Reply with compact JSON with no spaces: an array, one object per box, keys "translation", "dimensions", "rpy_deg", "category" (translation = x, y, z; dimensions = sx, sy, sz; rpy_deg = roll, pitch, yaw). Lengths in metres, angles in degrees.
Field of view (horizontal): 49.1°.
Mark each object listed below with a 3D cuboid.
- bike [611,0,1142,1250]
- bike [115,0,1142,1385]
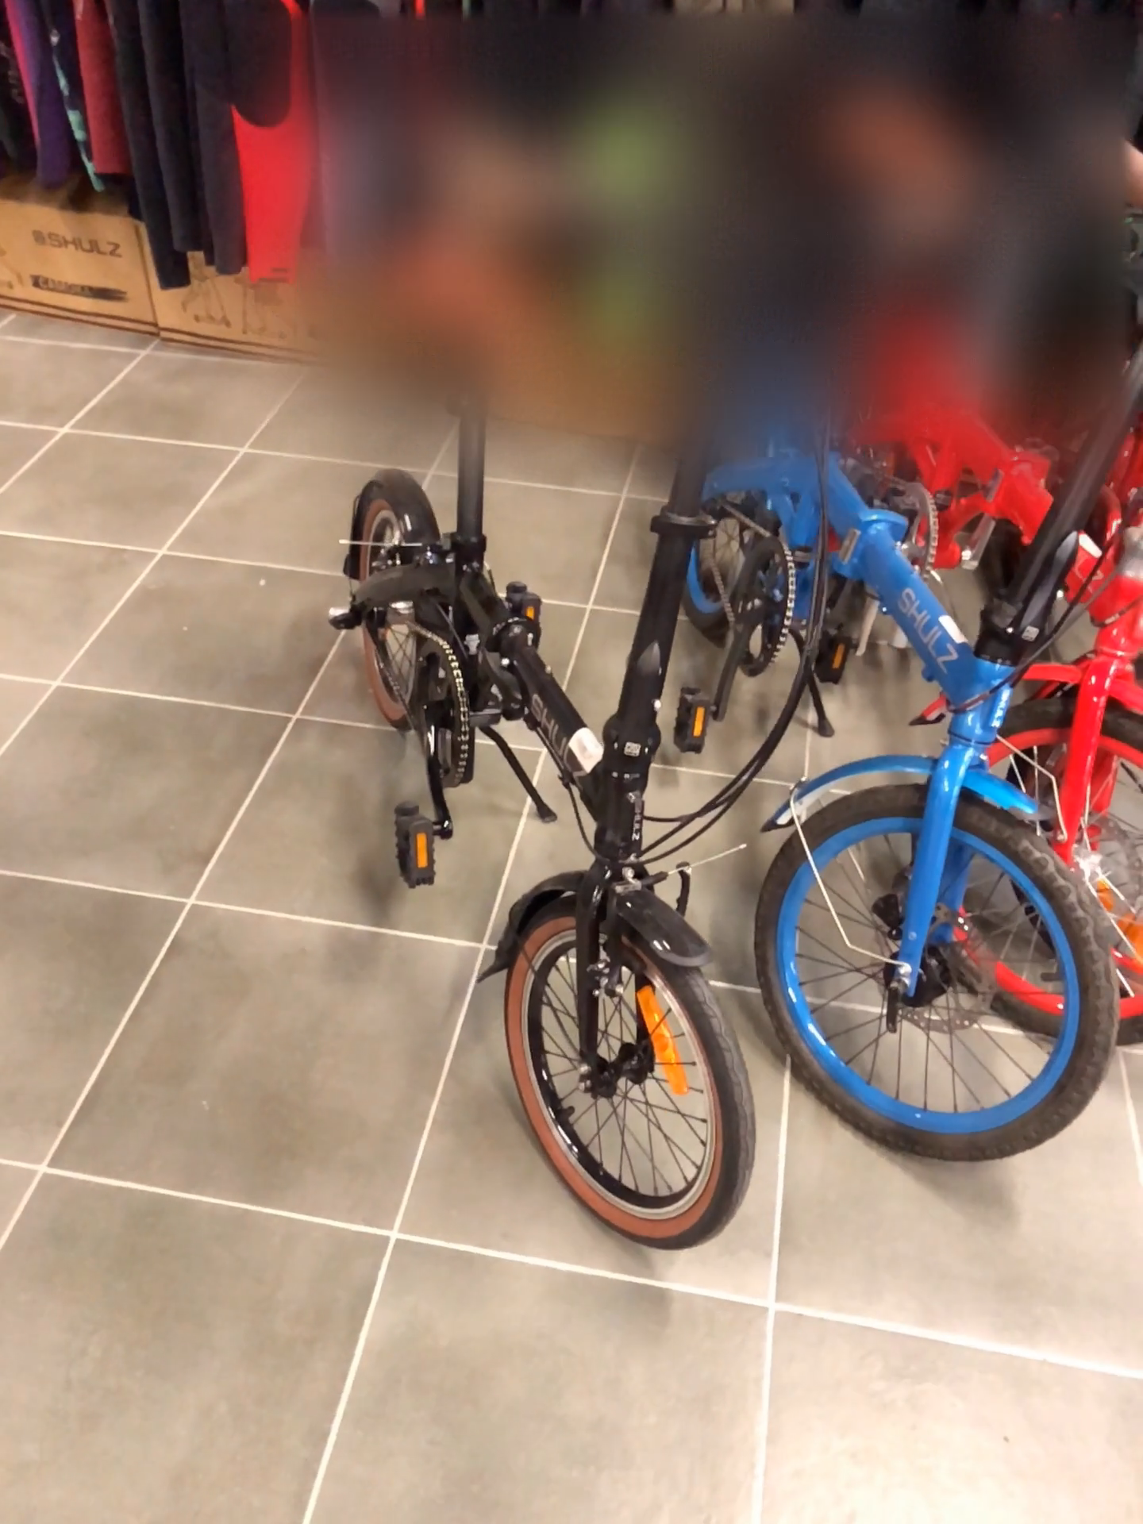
[{"translation":[0.511,-0.339,1.626],"dimensions":[0.567,1.029,1.380],"rpy_deg":[-7,43,-10],"category":"bike"},{"translation":[-0.039,-0.246,1.442],"dimensions":[0.565,1.057,1.279],"rpy_deg":[-15,43,-18],"category":"bike"}]
